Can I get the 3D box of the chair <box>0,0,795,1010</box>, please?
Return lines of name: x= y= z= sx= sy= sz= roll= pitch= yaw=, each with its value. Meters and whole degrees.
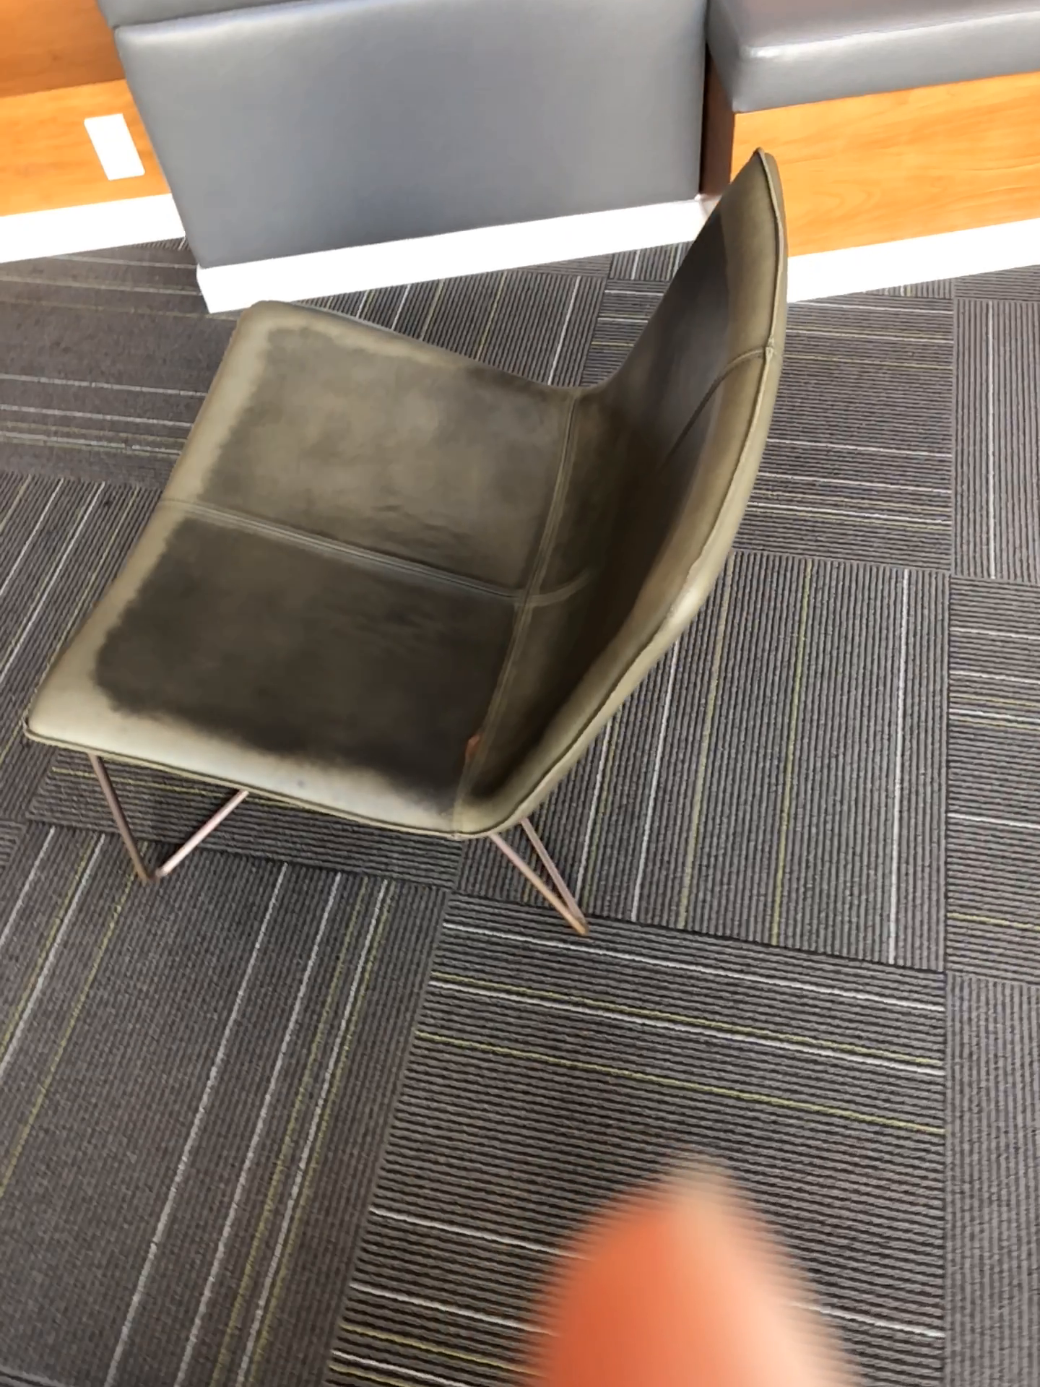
chair: x=-0.149 y=-0.177 z=1.283 sx=0.650 sy=0.878 sz=0.672 roll=11 pitch=58 yaw=5
